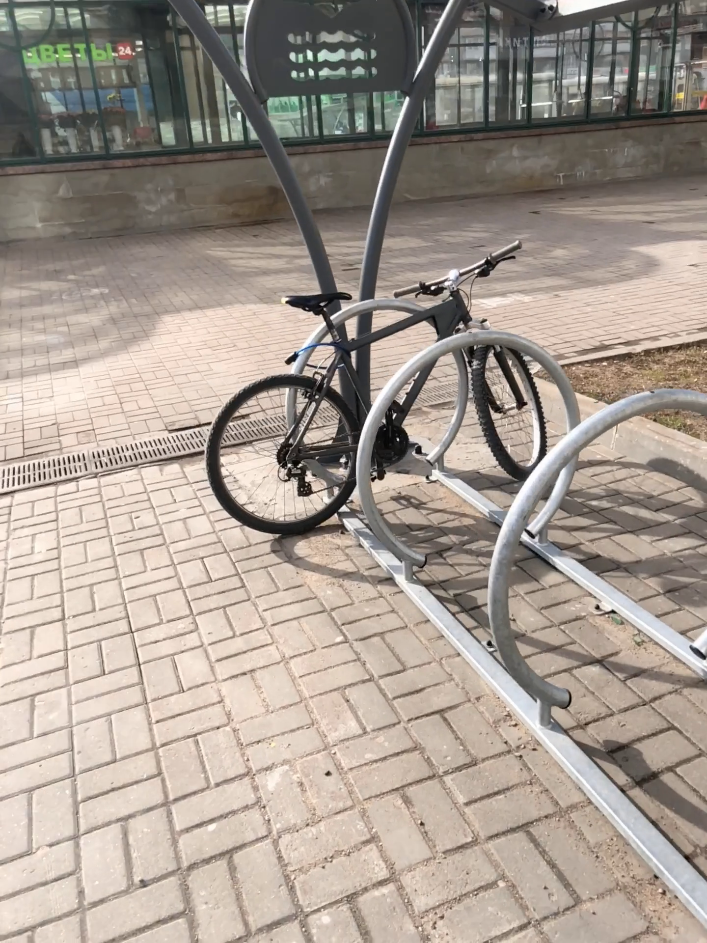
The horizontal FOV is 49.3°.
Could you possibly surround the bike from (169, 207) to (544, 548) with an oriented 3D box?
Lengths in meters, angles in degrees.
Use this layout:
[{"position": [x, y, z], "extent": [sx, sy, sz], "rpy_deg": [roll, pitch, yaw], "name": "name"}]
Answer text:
[{"position": [0.072, -0.504, 3.354], "extent": [1.613, 0.979, 0.563], "rpy_deg": [-18, 27, -26], "name": "bike"}]
